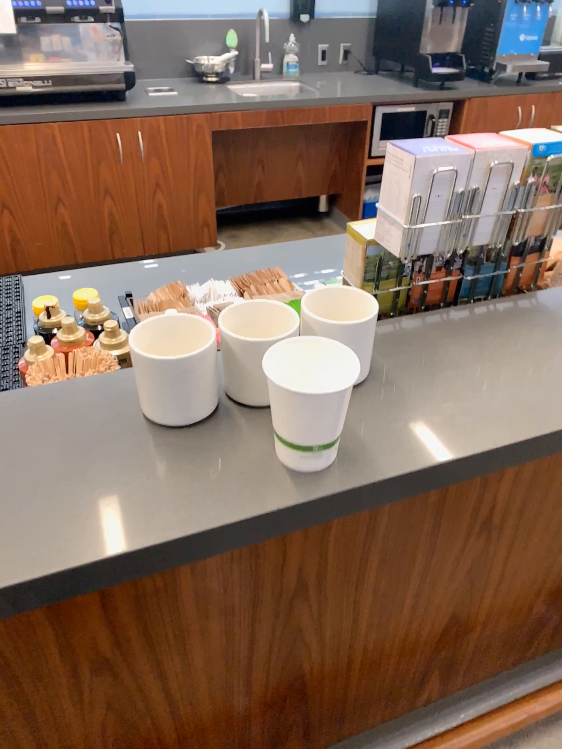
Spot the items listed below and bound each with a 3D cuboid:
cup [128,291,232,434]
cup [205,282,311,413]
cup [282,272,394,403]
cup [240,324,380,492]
[{"bbox_3d":[-0.110,-0.016,0.627,0.090,0.099,0.111,-8,37,-13],"label":"cup"},{"bbox_3d":[-0.029,-0.034,0.644,0.090,0.089,0.111,-8,37,-13],"label":"cup"},{"bbox_3d":[0.061,-0.046,0.678,0.090,0.099,0.111,-10,37,-14],"label":"cup"},{"bbox_3d":[0.026,0.028,0.538,0.090,0.099,0.090,1,36,-1],"label":"cup"}]
